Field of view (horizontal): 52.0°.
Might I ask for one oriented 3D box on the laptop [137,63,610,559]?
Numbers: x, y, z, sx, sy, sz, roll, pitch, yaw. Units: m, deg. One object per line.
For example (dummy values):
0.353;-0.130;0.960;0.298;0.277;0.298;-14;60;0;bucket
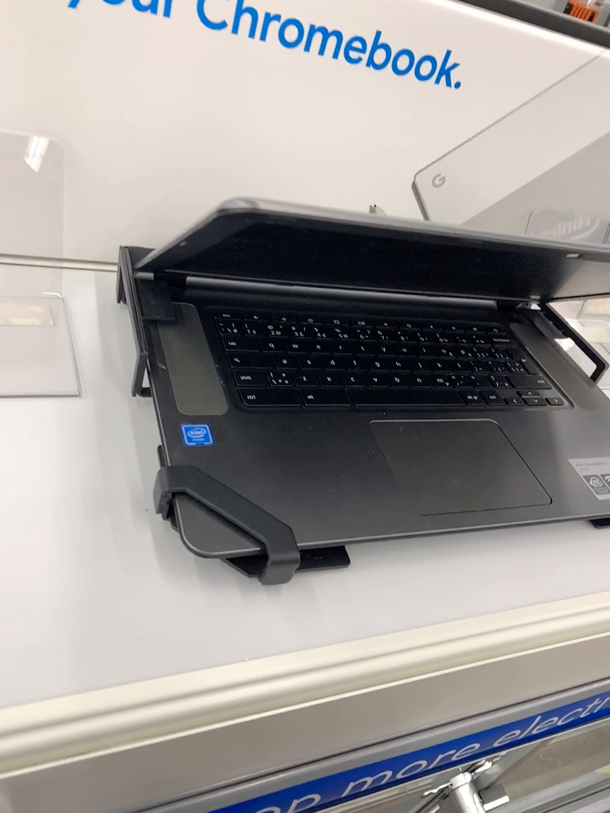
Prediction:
0.084;-0.053;0.329;0.303;0.119;0.198;0;43;-24;laptop
